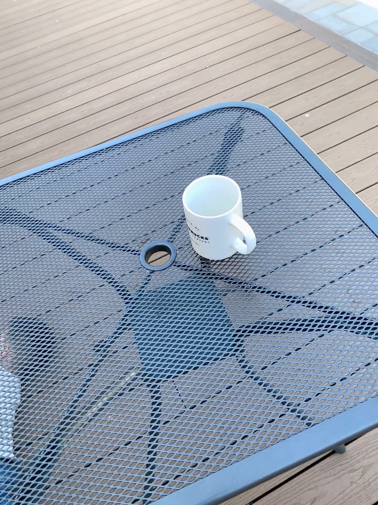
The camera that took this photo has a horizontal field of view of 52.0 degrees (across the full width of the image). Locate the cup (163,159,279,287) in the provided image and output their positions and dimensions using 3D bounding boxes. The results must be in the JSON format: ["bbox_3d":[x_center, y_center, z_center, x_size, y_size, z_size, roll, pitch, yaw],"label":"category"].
[{"bbox_3d":[0.050,-0.046,0.590,0.100,0.110,0.131,-39,57,-18],"label":"cup"}]
